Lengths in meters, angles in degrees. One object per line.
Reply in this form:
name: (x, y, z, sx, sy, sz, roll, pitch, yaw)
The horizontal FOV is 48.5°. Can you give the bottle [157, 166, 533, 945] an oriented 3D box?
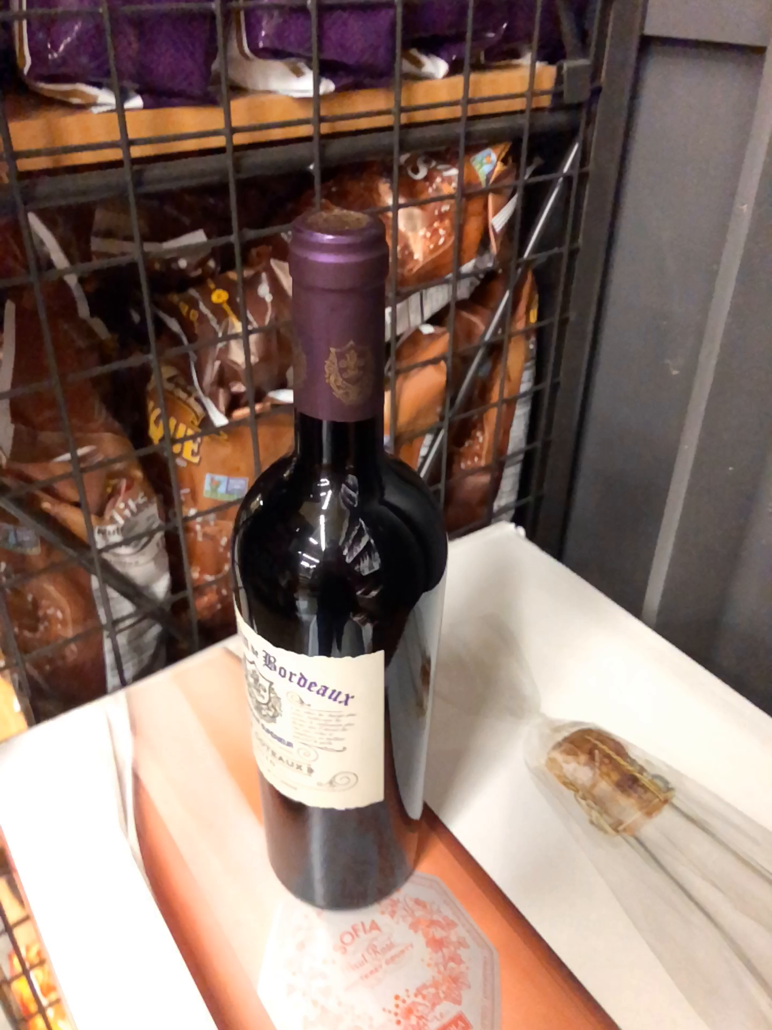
bottle: (-0.012, 0.030, 0.333, 0.073, 0.290, 0.085, 25, 40, 33)
